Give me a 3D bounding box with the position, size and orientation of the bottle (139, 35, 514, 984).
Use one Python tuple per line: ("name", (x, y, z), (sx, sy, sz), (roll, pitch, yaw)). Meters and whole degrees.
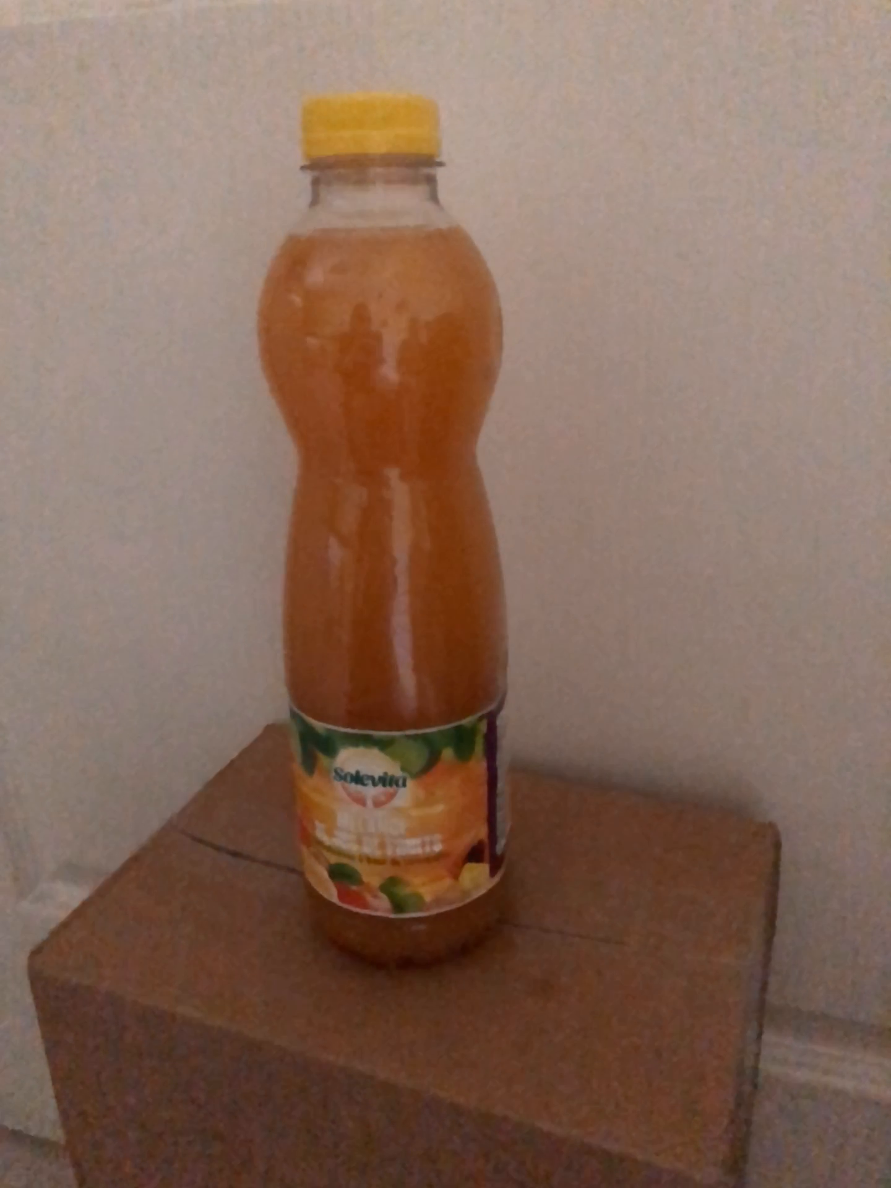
("bottle", (-0.022, -0.014, 0.315), (0.080, 0.279, 0.080), (-2, 24, 1))
